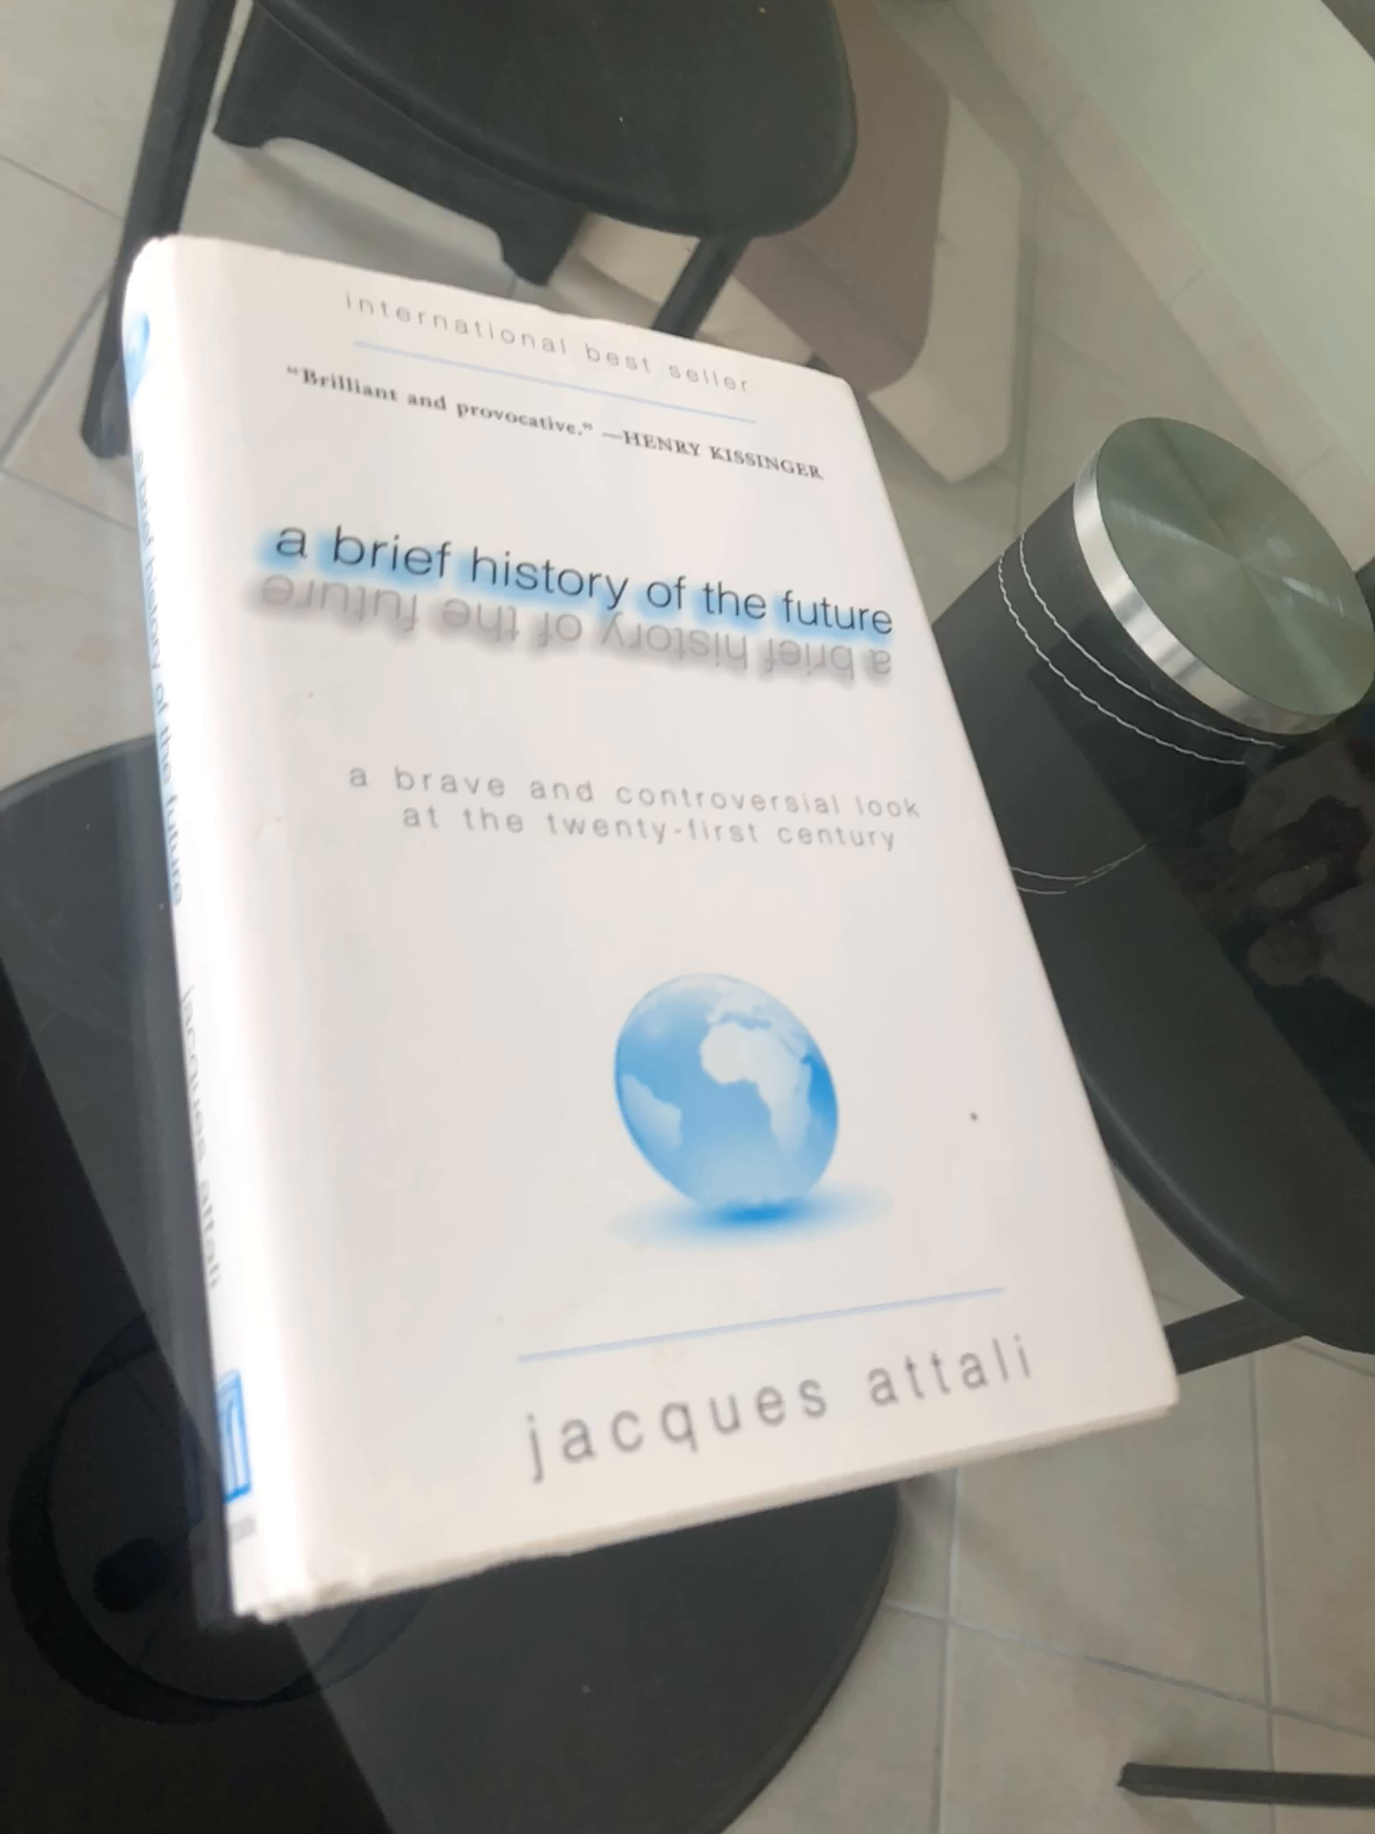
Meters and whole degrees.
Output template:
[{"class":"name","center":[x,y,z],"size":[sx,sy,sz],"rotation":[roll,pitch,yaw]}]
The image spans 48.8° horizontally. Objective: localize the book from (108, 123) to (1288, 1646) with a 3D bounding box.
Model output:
[{"class":"book","center":[-0.005,-0.015,0.243],"size":[0.151,0.040,0.210],"rotation":[2,64,-30]}]
